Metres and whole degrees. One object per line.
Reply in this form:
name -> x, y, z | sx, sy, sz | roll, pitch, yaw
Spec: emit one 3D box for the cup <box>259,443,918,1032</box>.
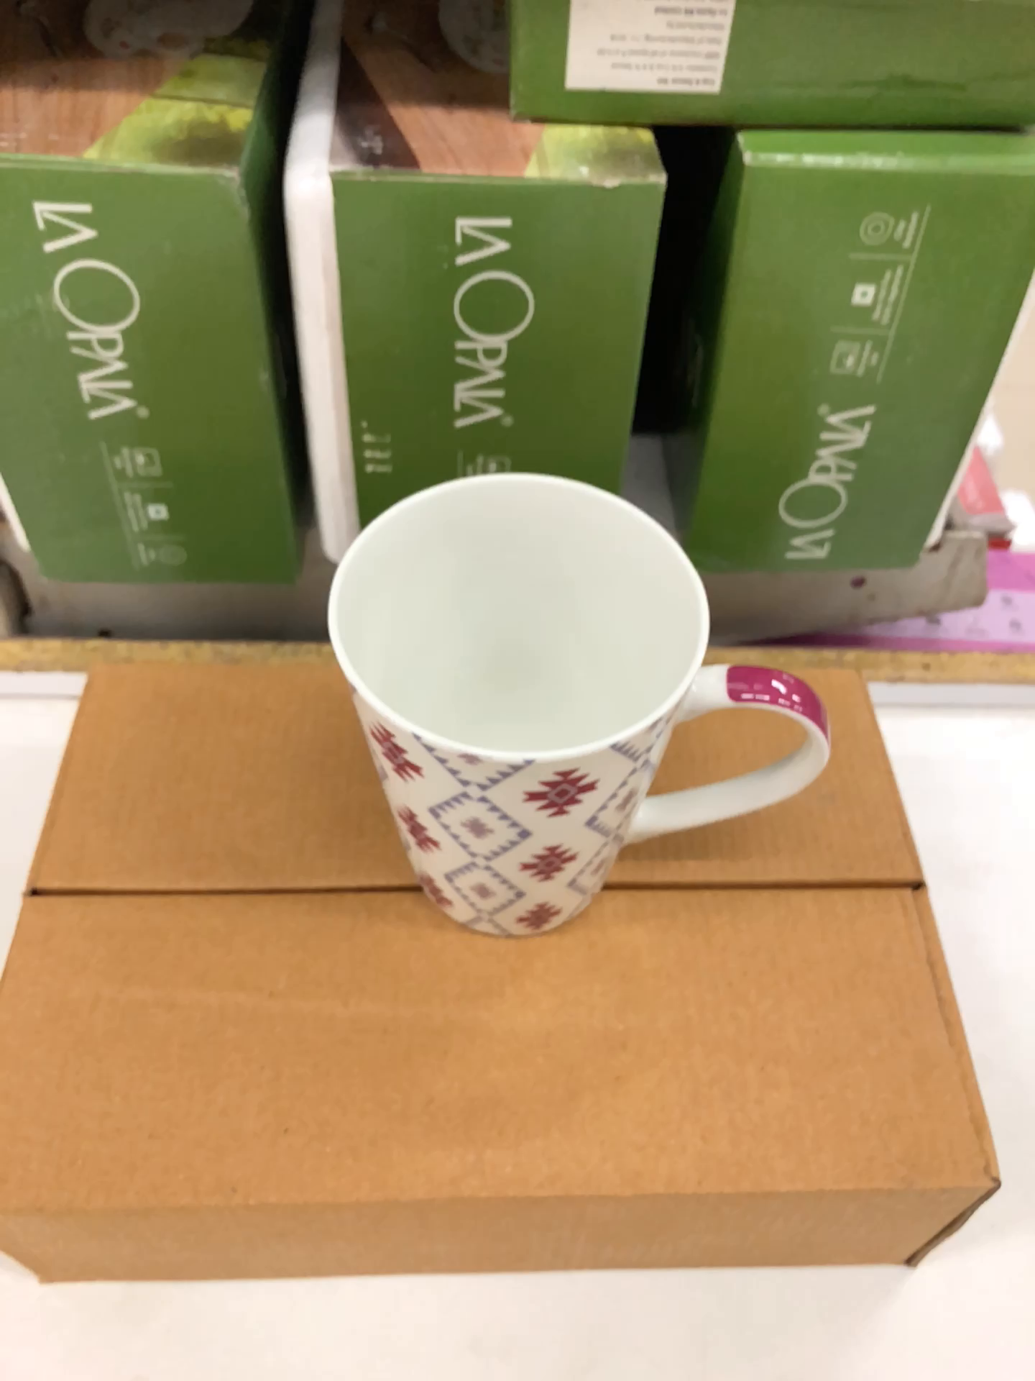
cup -> 0.015, 0.013, 0.274 | 0.120, 0.099, 0.080 | 7, 49, 3
